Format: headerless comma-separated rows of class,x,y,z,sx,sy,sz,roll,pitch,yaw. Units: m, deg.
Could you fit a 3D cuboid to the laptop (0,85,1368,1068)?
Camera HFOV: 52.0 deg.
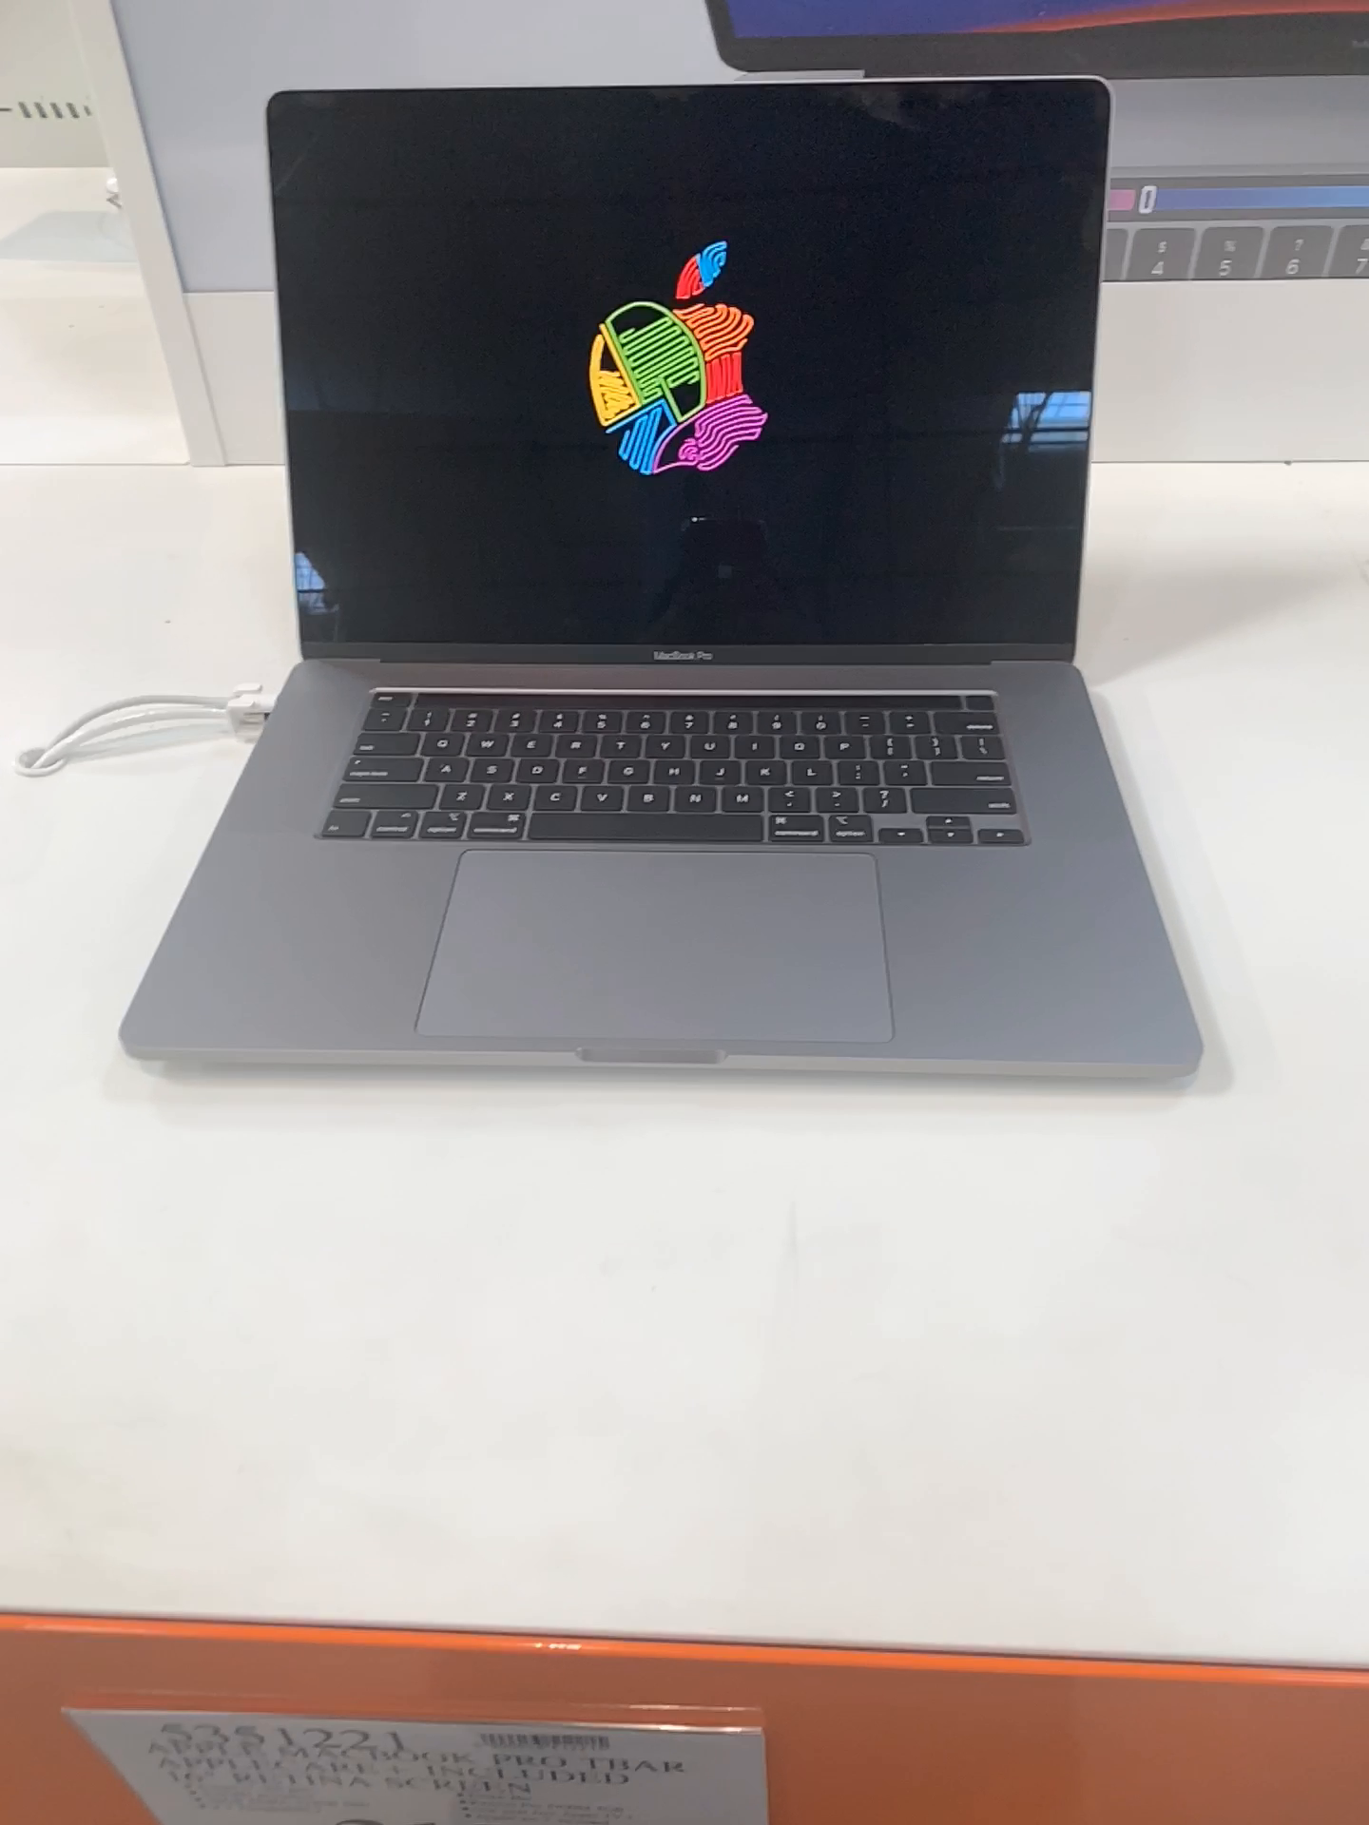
laptop,-0.005,-0.143,0.507,0.341,0.203,0.347,0,41,3
